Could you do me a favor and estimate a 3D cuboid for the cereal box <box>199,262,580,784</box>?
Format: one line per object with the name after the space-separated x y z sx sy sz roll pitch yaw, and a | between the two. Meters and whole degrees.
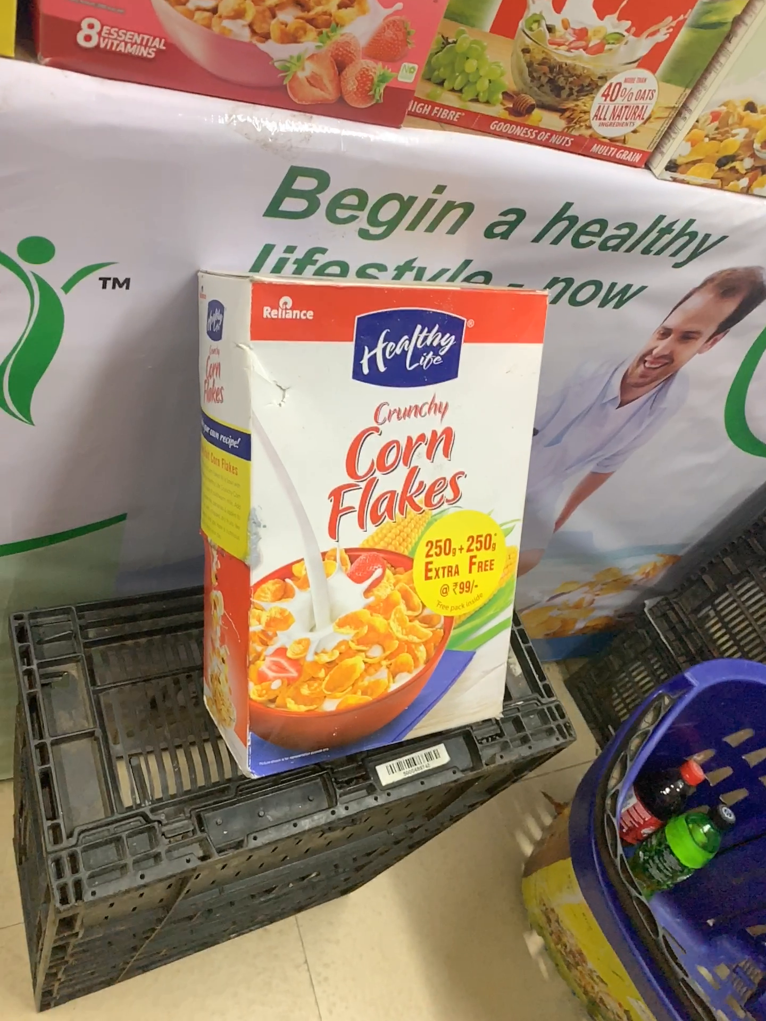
-0.001 -0.002 0.493 0.201 0.280 0.100 -5 15 -26 | cereal box
